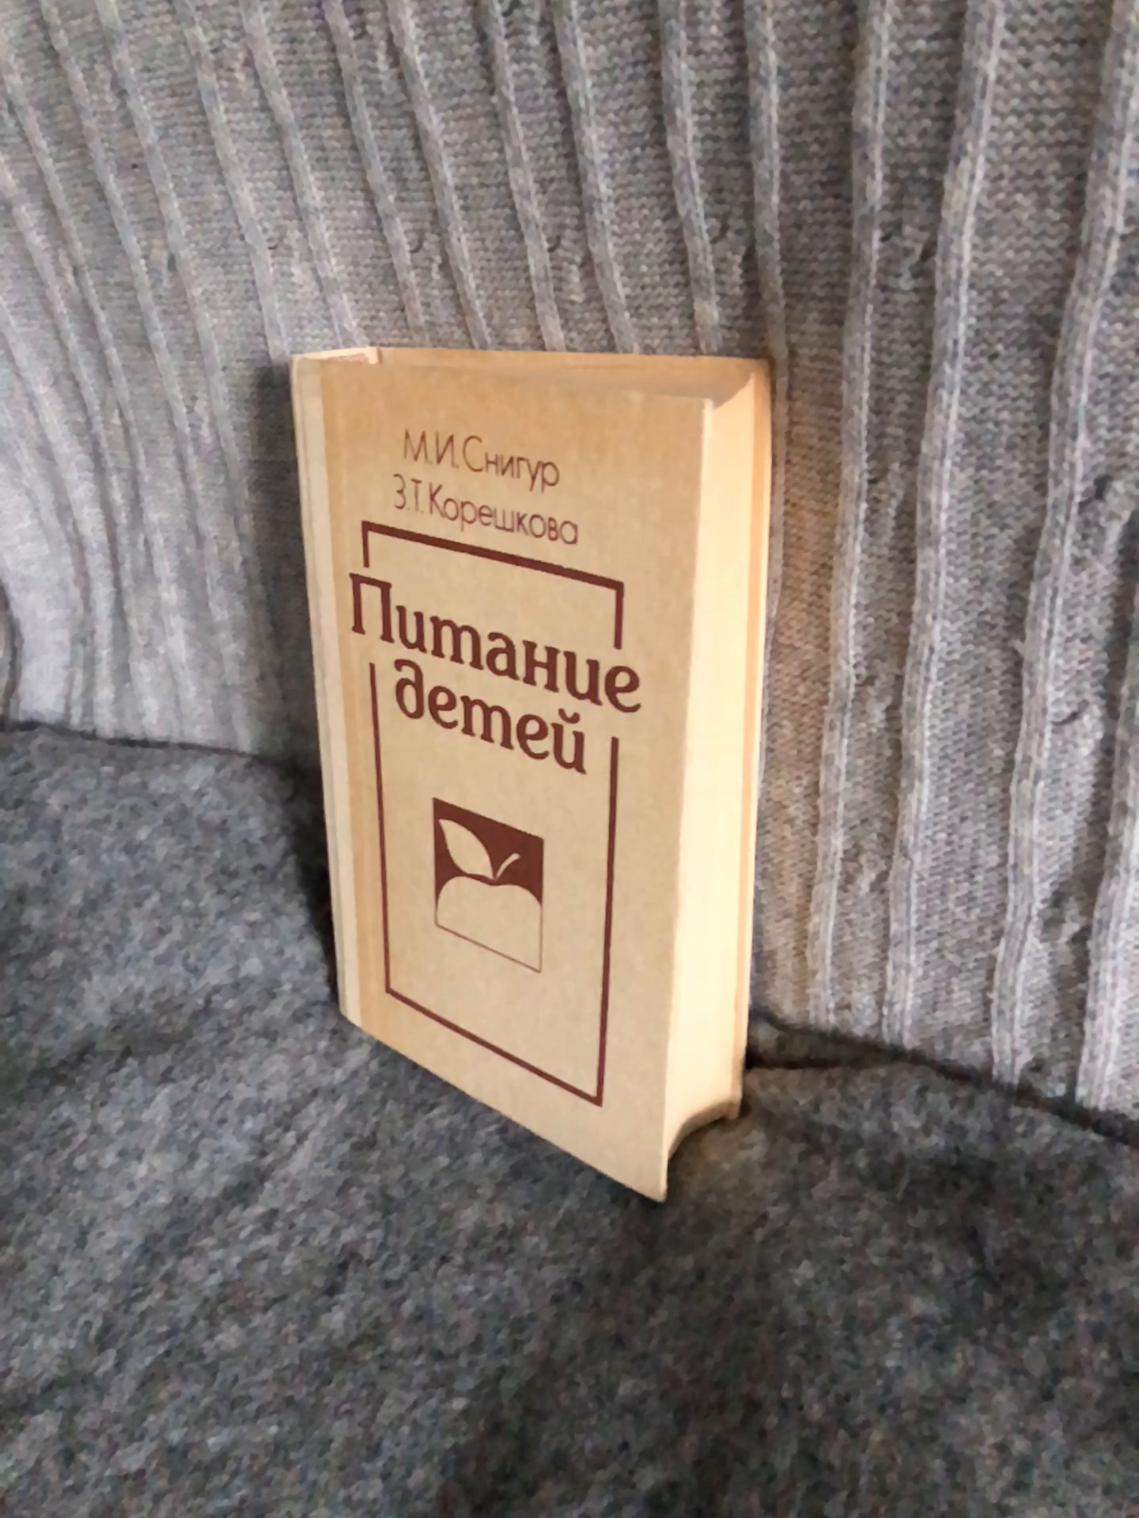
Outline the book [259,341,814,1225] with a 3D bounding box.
[{"bbox_3d":[-0.012,0.001,0.343,0.140,0.212,0.041,16,27,35],"label":"book"}]
